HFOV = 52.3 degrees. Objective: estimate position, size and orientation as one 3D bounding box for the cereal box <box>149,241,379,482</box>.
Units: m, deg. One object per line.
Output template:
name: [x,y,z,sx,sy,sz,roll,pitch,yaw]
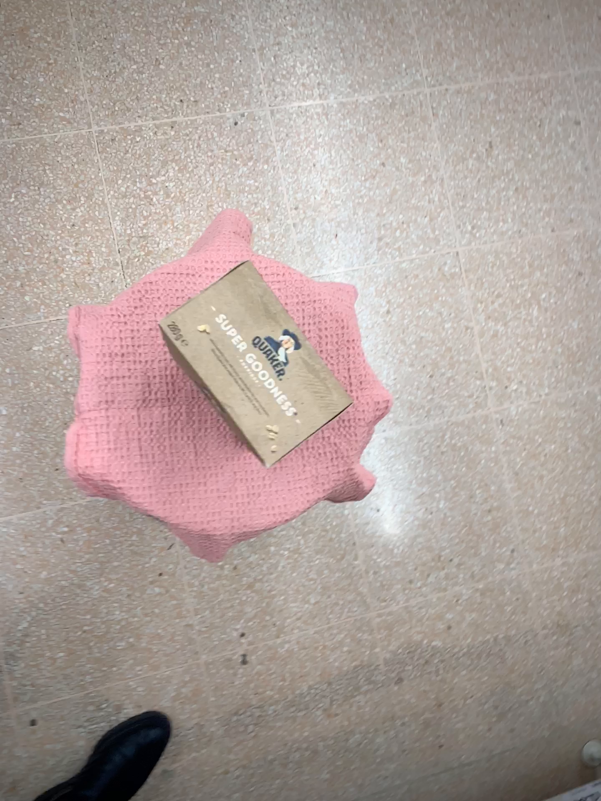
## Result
cereal box: [-0.039,-0.025,0.540,0.100,0.210,0.140,-37,93,-8]
